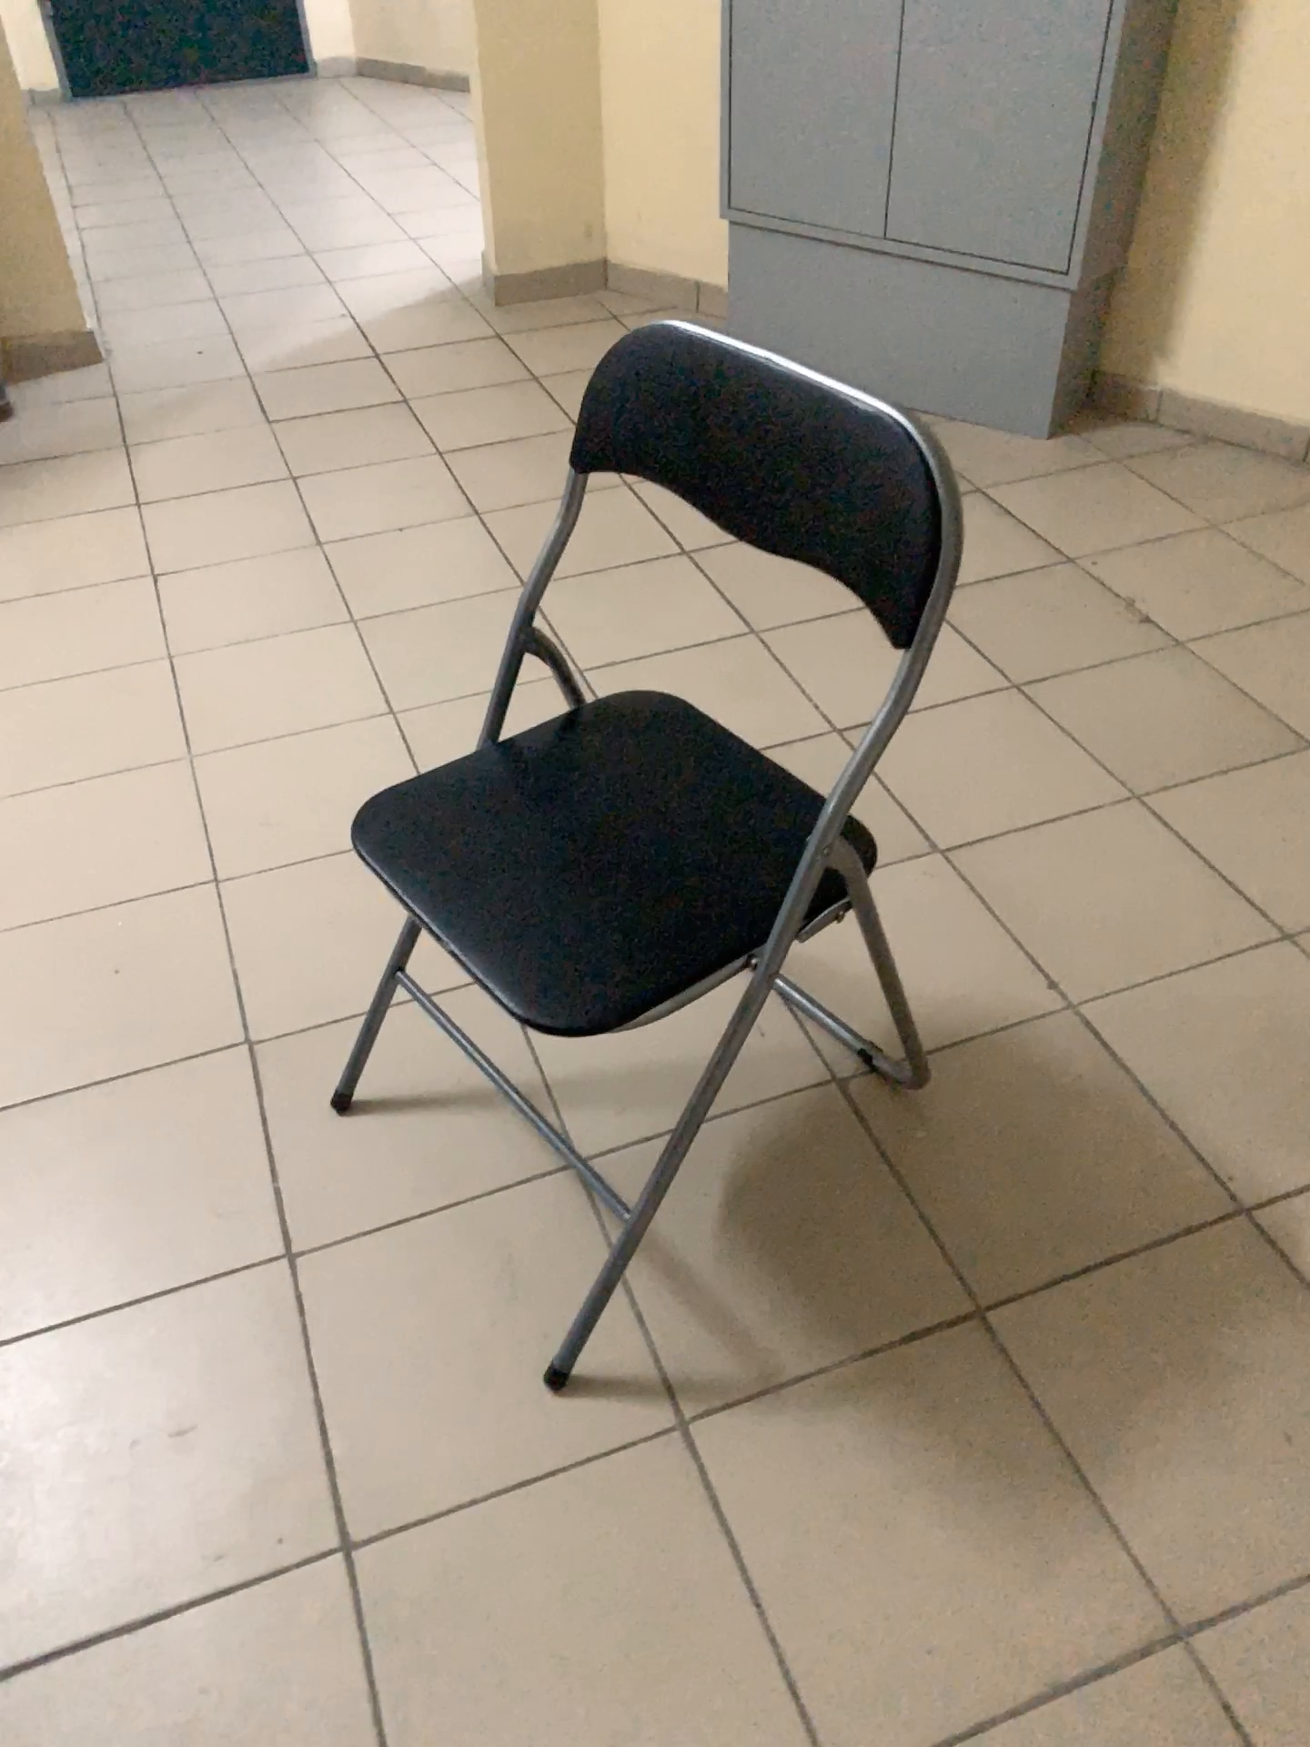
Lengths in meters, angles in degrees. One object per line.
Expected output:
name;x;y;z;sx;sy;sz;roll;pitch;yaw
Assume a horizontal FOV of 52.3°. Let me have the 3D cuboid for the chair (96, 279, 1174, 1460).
chair;-0.026;-0.034;1.210;0.561;0.726;0.572;-27;46;-27
